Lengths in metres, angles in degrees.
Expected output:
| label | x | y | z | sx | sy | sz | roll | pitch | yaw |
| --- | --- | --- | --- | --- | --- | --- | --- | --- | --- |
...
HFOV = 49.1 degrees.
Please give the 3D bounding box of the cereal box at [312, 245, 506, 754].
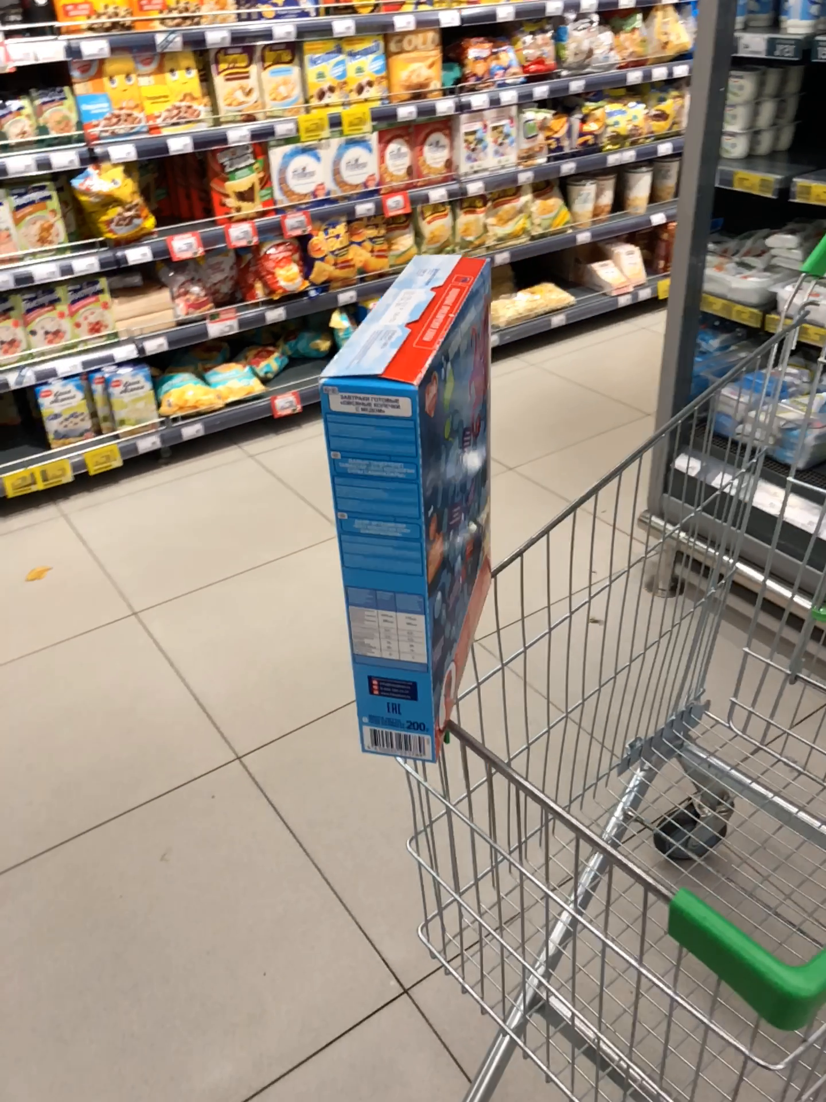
| label | x | y | z | sx | sy | sz | roll | pitch | yaw |
| --- | --- | --- | --- | --- | --- | --- | --- | --- | --- |
| cereal box | 0.013 | -0.037 | 0.572 | 0.060 | 0.248 | 0.201 | 5 | 35 | 14 |
